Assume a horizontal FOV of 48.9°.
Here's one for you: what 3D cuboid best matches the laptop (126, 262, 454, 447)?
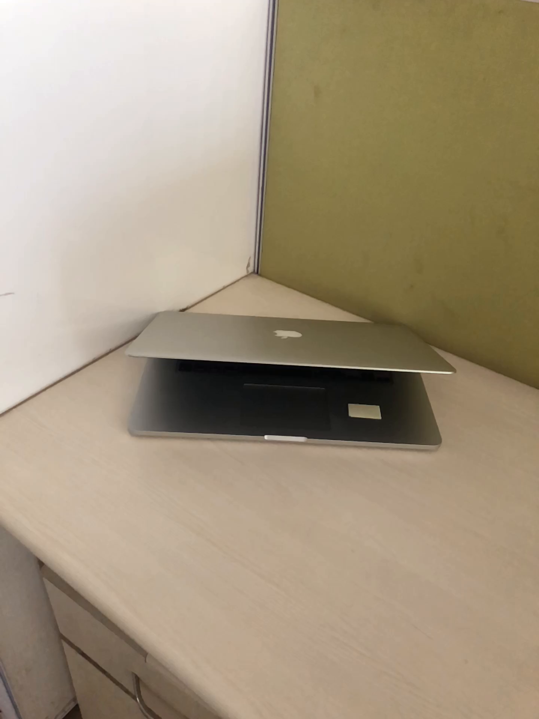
[{"bbox_3d":[0.021,-0.017,0.740,0.343,0.083,0.245,3,36,-2],"label":"laptop"}]
